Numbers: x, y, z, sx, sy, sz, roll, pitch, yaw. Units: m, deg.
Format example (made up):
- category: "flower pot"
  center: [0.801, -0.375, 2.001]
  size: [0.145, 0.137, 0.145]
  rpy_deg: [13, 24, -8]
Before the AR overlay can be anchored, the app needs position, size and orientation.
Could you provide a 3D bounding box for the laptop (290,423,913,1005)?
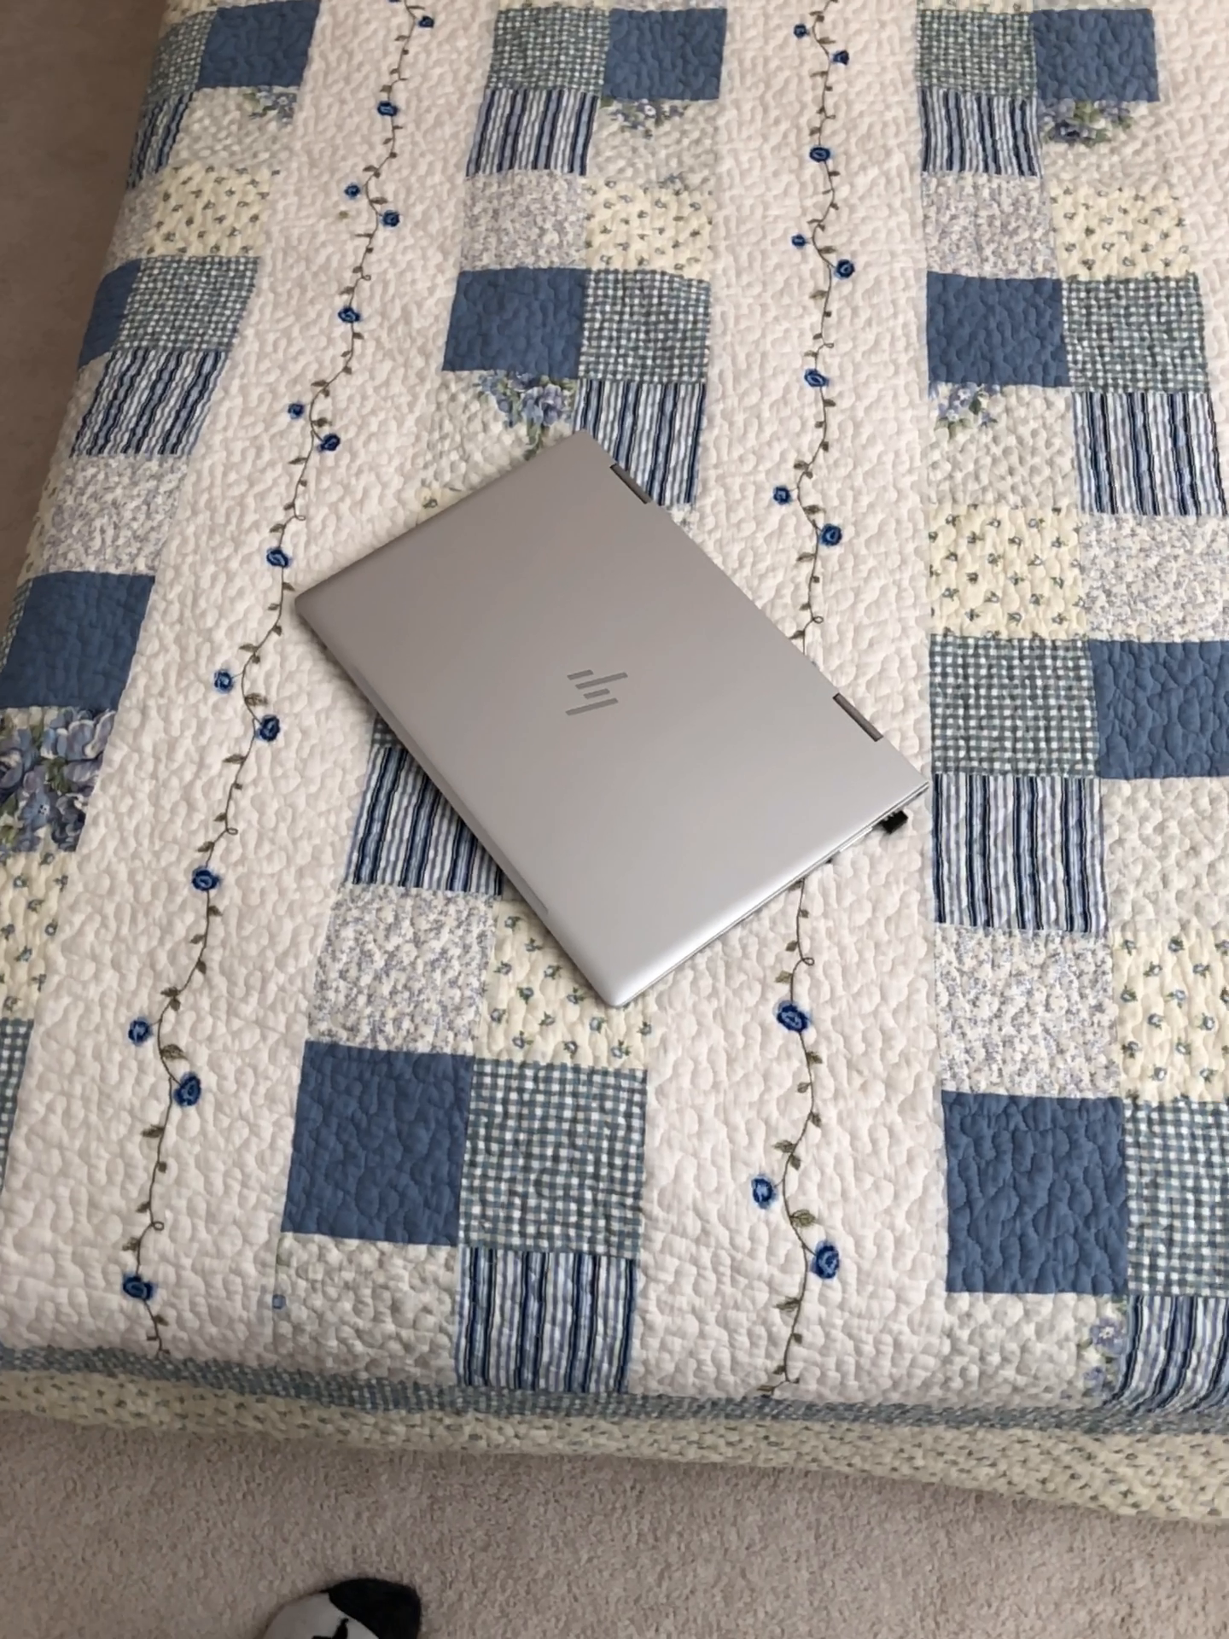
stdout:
- category: "laptop"
  center: [-0.018, -0.095, 0.945]
  size: [0.256, 0.011, 0.386]
  rpy_deg: [-34, 68, -15]
